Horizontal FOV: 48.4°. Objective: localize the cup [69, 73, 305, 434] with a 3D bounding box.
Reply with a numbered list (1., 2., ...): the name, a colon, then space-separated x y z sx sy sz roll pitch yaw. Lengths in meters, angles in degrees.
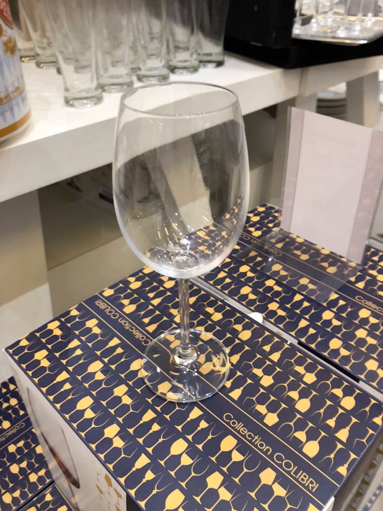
1. cup: -0.003 0.003 0.289 0.090 0.209 0.090 0 36 0
